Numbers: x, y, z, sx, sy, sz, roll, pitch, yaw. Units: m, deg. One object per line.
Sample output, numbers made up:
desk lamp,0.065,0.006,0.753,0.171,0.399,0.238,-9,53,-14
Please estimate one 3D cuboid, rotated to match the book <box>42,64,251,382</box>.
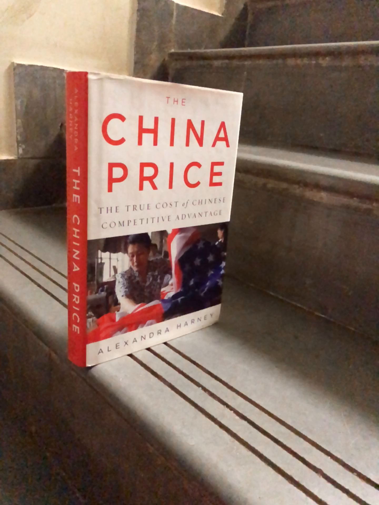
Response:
book,-0.031,-0.028,0.380,0.180,0.239,0.040,-12,23,-40
